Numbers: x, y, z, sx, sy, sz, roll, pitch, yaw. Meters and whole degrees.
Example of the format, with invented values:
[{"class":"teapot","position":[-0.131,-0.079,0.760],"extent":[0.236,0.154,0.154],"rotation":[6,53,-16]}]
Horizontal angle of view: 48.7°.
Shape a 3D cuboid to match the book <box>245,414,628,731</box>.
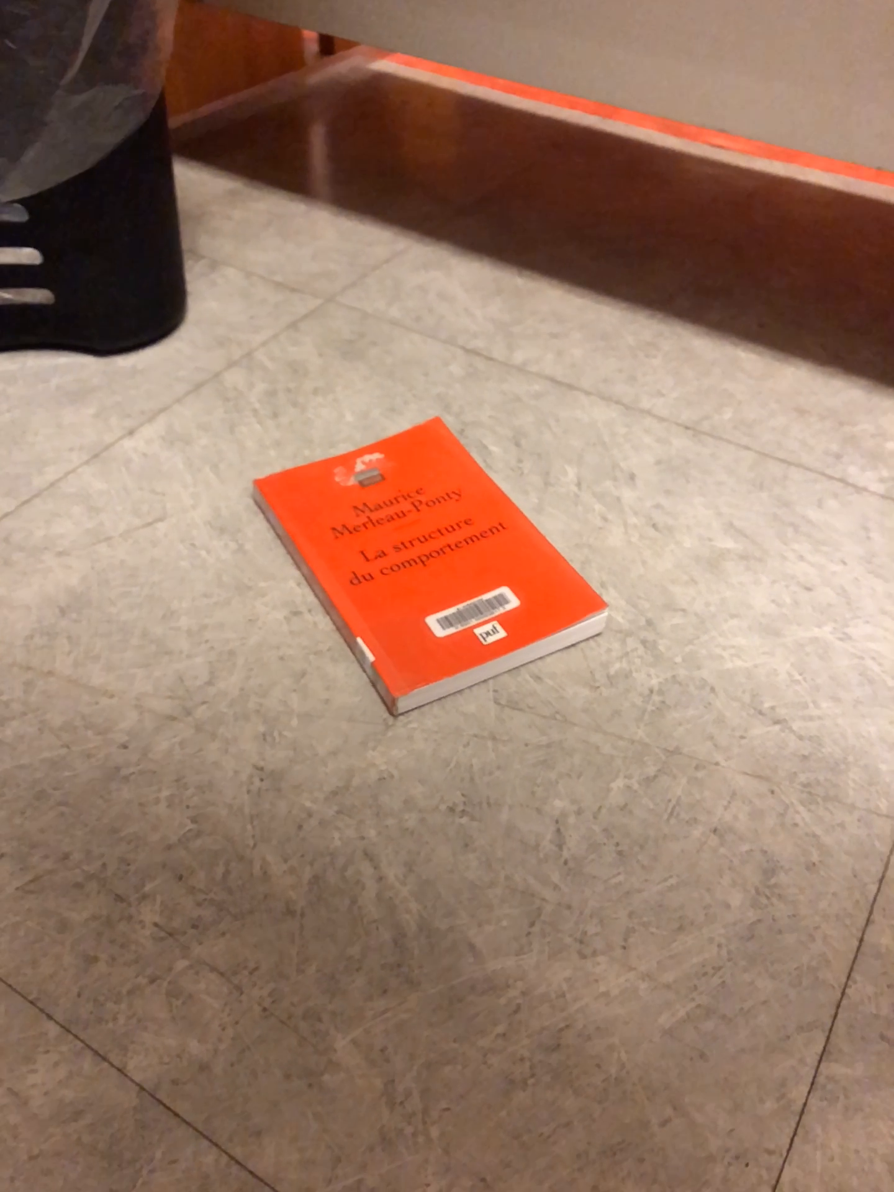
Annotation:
[{"class":"book","position":[-0.013,-0.026,0.556],"extent":[0.135,0.020,0.201],"rotation":[-19,48,-21]}]
